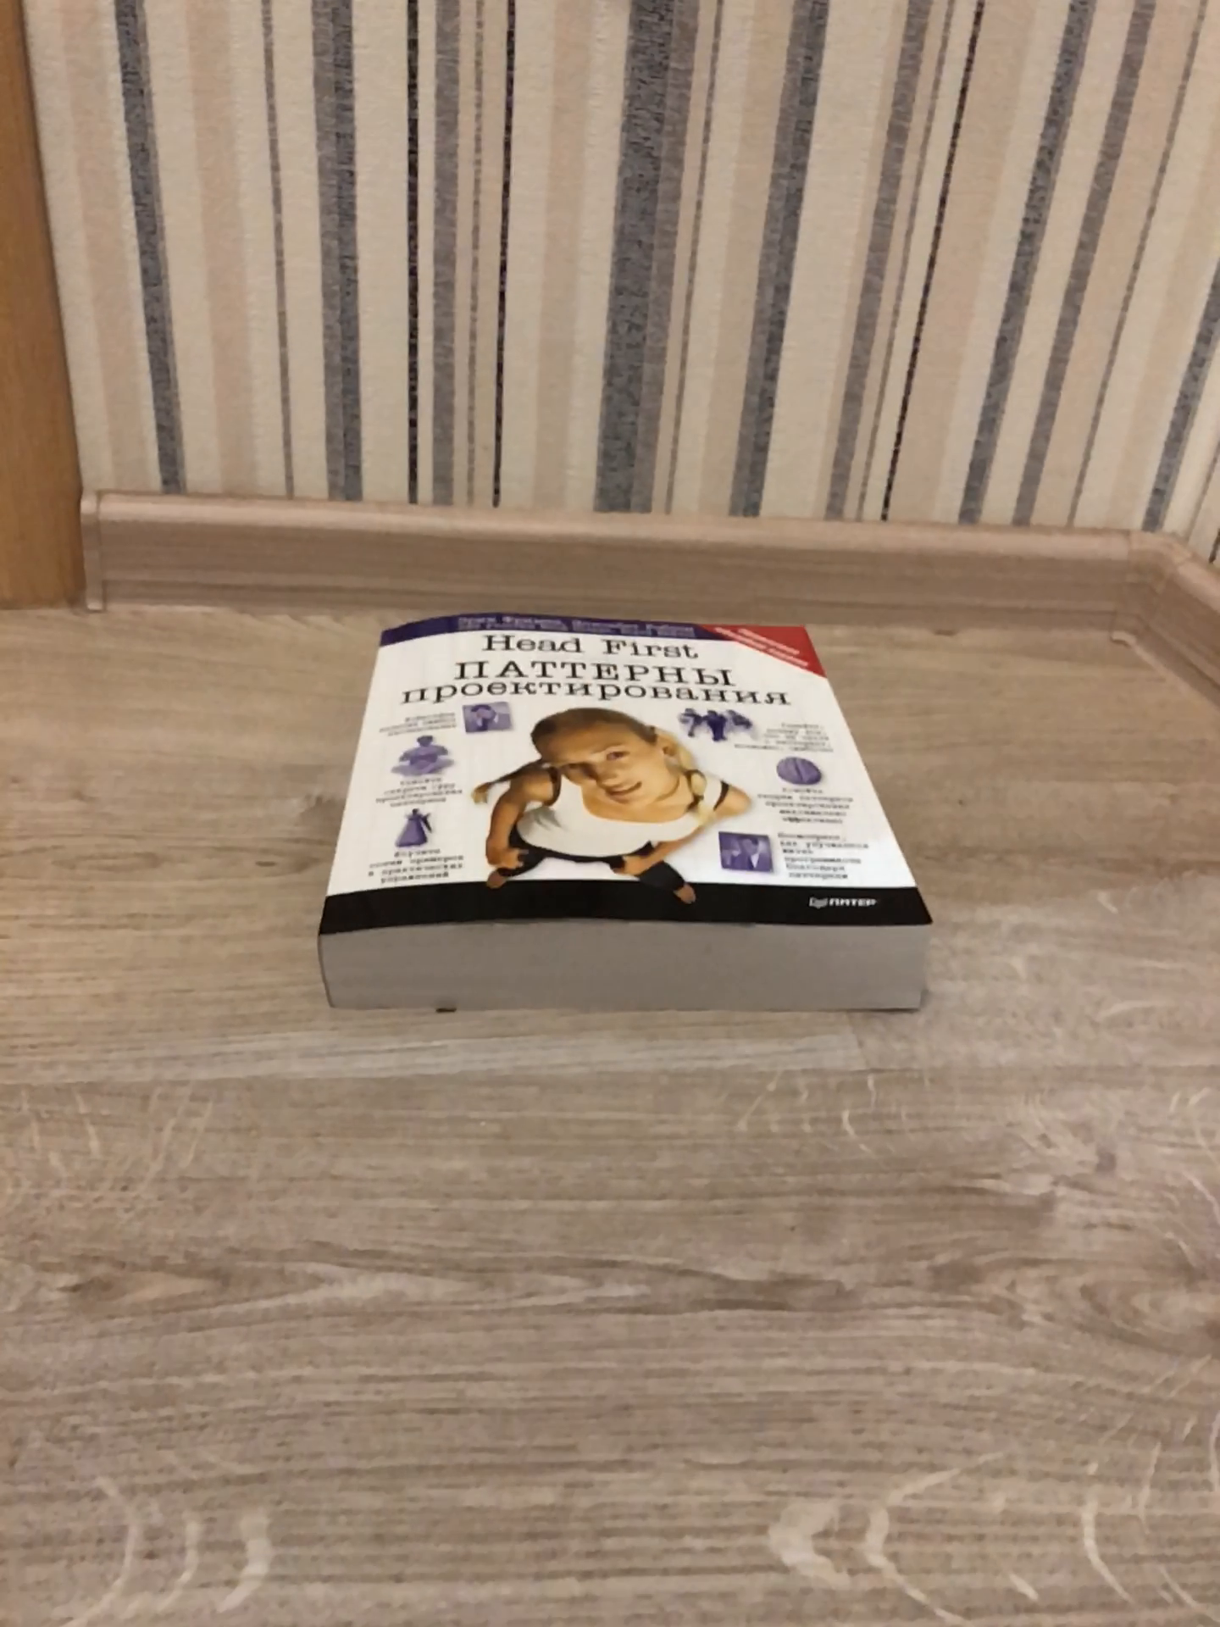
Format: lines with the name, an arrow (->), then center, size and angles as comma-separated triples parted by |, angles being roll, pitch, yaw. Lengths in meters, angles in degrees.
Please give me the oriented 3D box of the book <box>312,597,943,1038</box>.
book -> -0.002, -0.011, 0.549 | 0.206, 0.049, 0.242 | 2, 33, -6
